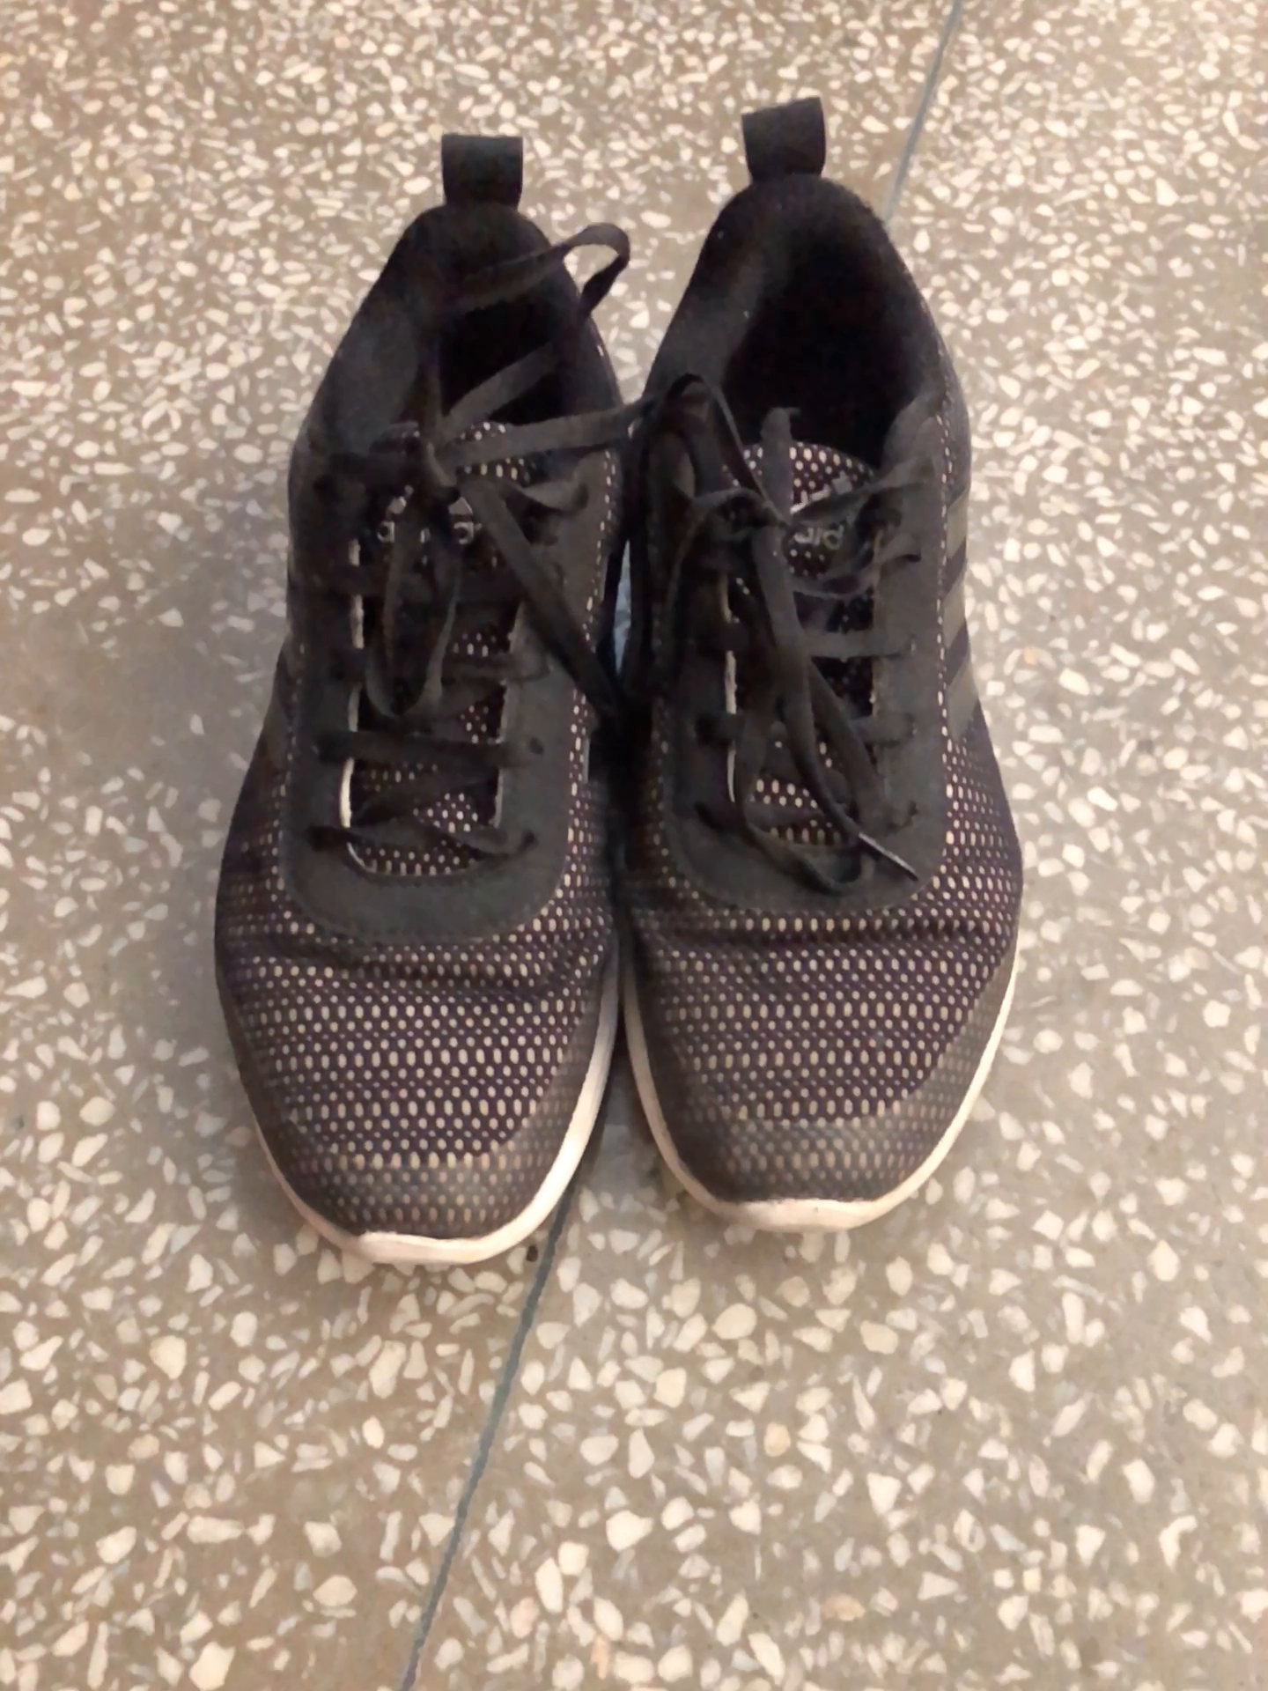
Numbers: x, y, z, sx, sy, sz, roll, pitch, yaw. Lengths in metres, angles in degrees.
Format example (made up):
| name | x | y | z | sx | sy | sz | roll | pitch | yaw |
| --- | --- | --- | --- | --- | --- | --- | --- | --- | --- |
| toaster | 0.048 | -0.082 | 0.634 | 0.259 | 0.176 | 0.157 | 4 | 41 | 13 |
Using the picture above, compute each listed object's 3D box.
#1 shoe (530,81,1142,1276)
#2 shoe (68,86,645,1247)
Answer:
| name | x | y | z | sx | sy | sz | roll | pitch | yaw |
| --- | --- | --- | --- | --- | --- | --- | --- | --- | --- |
| shoe | 0.039 | -0.049 | 0.326 | 0.100 | 0.080 | 0.270 | 2 | 64 | 1 |
| shoe | -0.048 | -0.054 | 0.342 | 0.100 | 0.080 | 0.280 | 0 | 64 | 0 |
